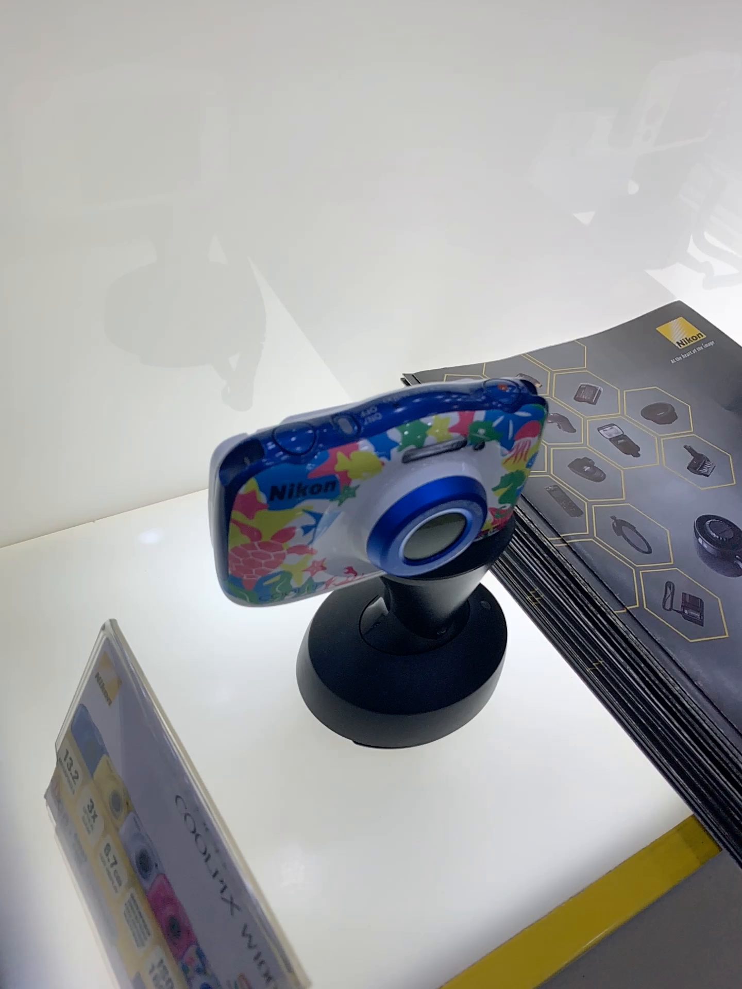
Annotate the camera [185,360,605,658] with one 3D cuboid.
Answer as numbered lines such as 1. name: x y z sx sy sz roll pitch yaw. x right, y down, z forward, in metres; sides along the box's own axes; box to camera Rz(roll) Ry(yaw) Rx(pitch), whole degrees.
1. camera: 0.006 0.002 0.245 0.120 0.060 0.040 -14 51 -24
